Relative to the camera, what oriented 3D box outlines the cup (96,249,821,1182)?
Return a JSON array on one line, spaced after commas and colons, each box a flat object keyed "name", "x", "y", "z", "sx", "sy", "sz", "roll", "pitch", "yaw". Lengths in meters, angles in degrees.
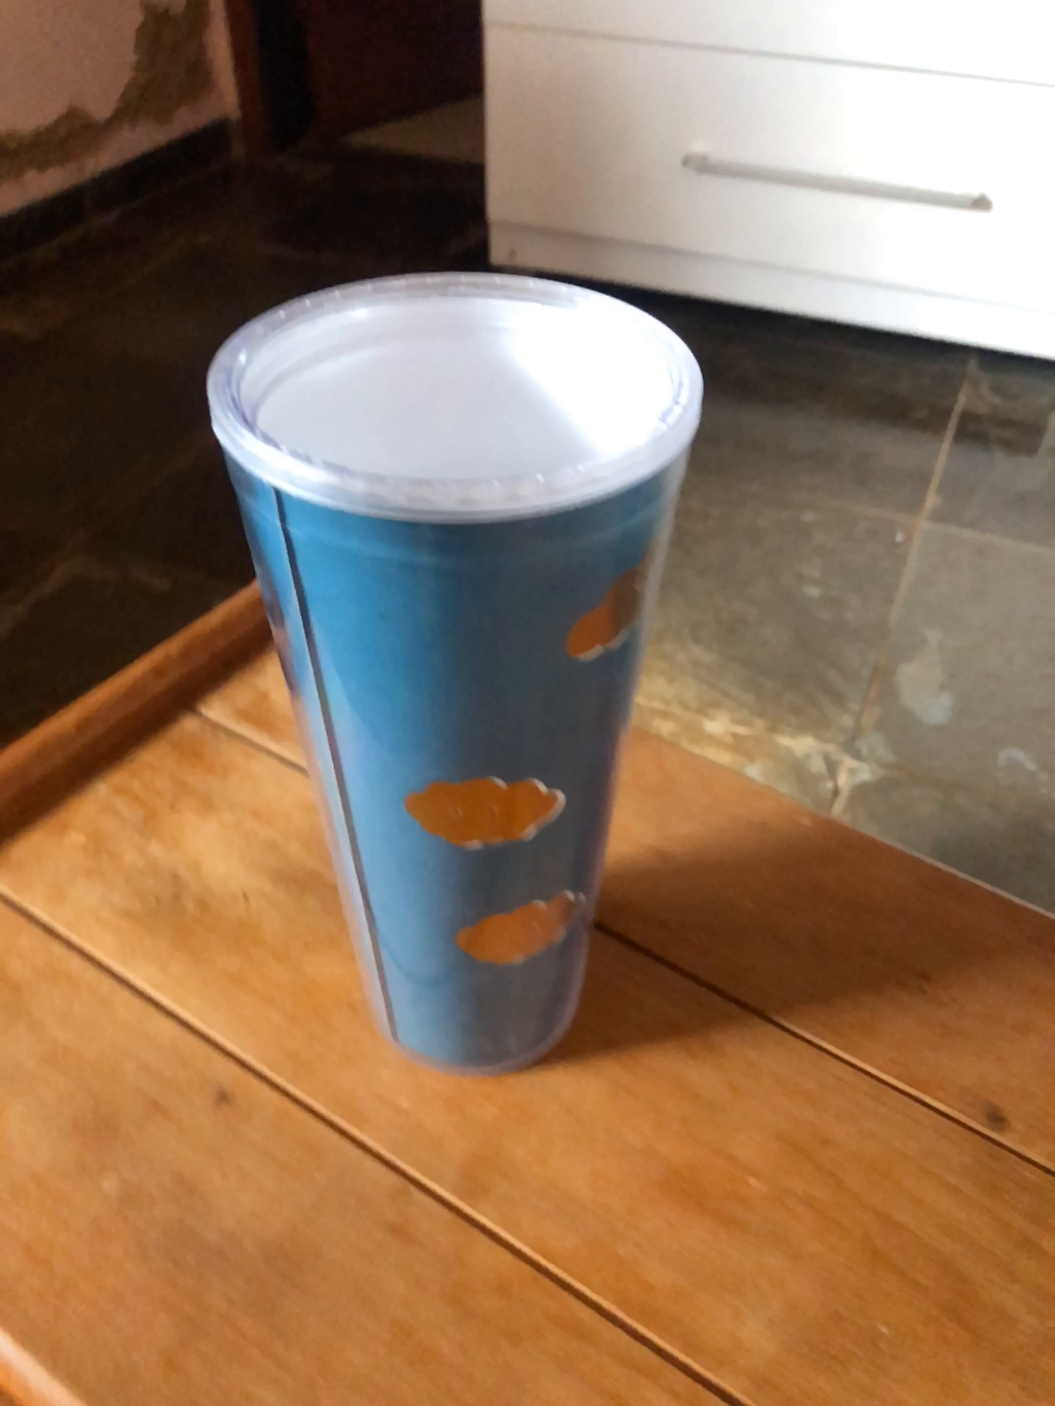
[{"name": "cup", "x": -0.013, "y": 0.005, "z": 0.287, "sx": 0.100, "sy": 0.179, "sz": 0.101, "roll": 0, "pitch": 40, "yaw": 0}]
